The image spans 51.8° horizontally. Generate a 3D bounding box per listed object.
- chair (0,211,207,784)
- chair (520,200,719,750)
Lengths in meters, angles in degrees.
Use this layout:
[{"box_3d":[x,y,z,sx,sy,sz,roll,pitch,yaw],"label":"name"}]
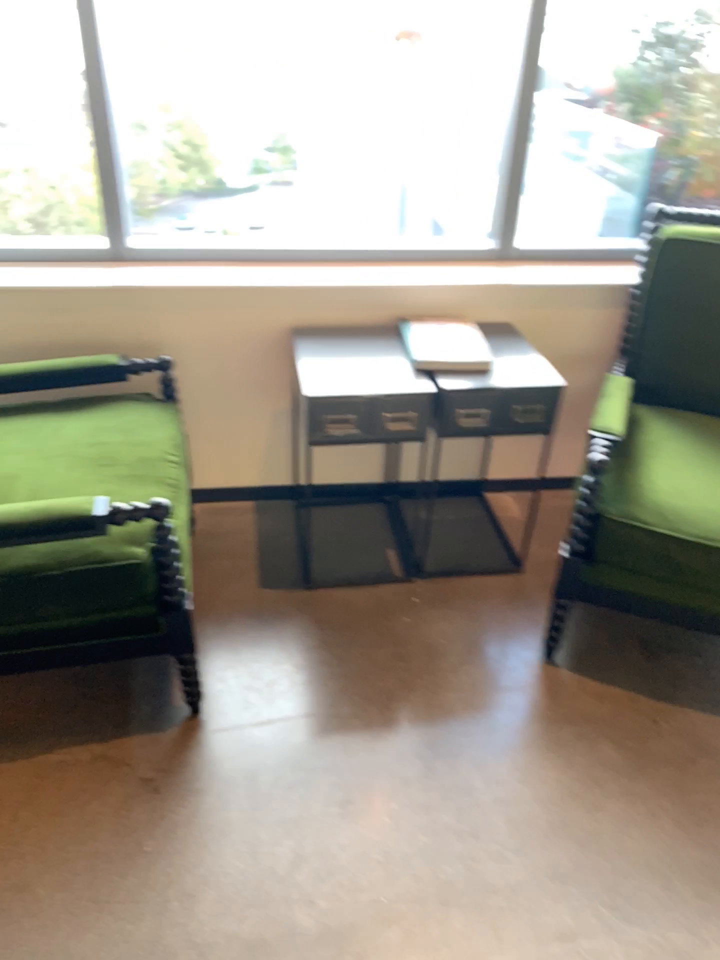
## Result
[{"box_3d":[-0.873,-0.010,1.691,0.920,0.974,0.735,-5,34,-12],"label":"chair"},{"box_3d":[0.961,-0.091,1.961,0.761,0.984,0.925,13,34,17],"label":"chair"}]
